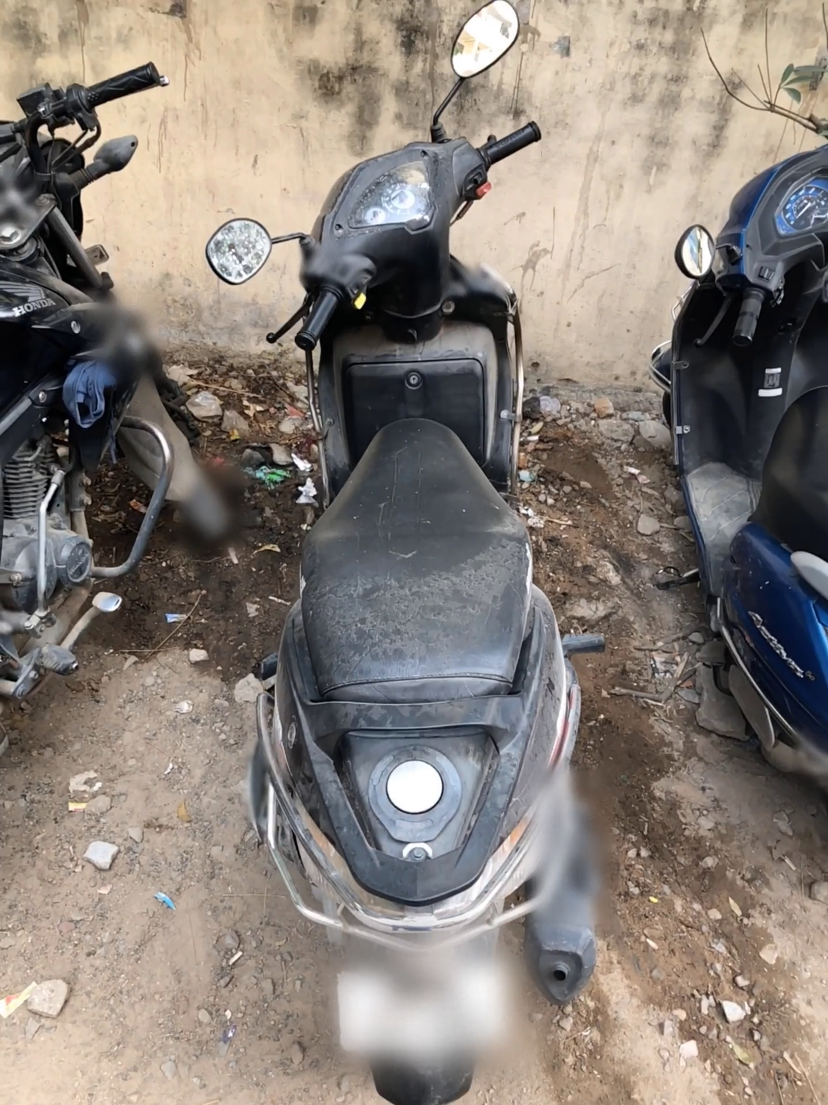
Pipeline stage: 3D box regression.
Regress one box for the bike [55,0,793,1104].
[{"bbox_3d":[-0.145,-0.198,1.525,0.528,1.113,1.568,1,39,-10],"label":"bike"}]
